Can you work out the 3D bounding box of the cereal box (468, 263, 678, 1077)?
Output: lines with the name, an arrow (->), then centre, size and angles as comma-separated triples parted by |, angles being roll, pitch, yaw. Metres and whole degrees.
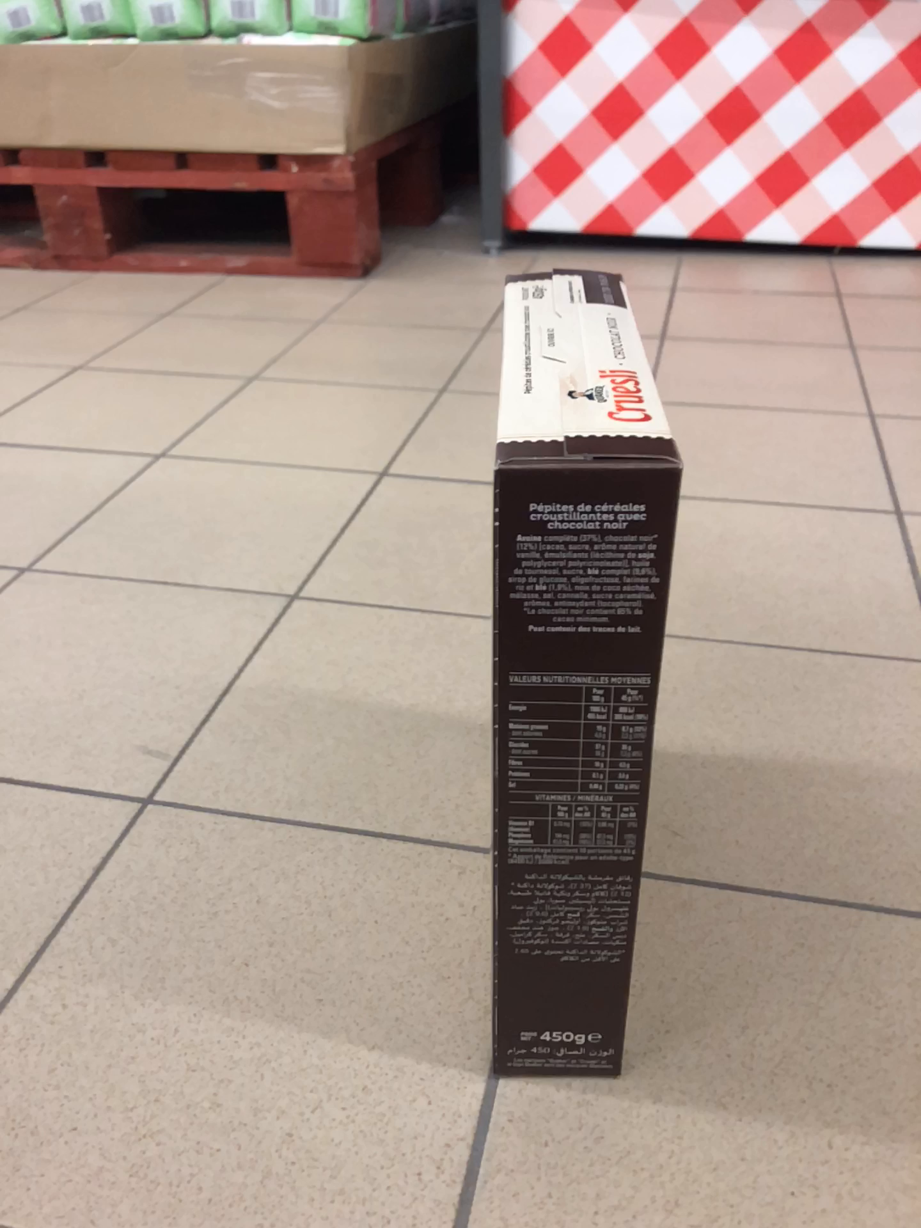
cereal box -> 0.036, 0.011, 0.392 | 0.050, 0.239, 0.201 | 1, 31, 4
